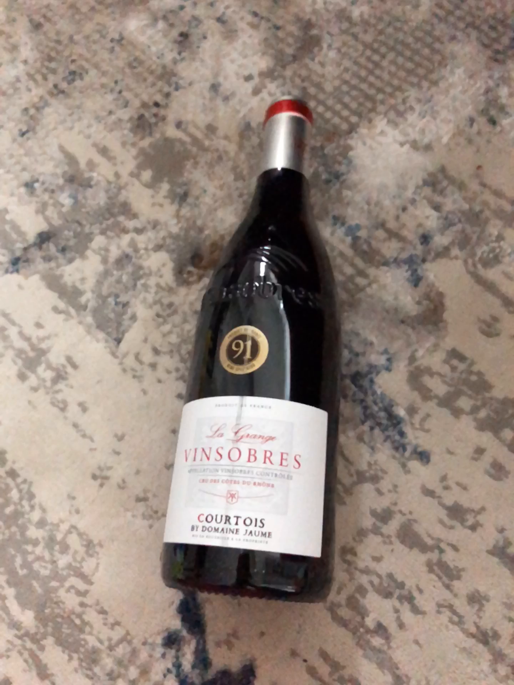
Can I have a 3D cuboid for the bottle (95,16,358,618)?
[{"bbox_3d":[0.004,-0.022,0.317,0.090,0.100,0.300,2,68,11],"label":"bottle"}]
